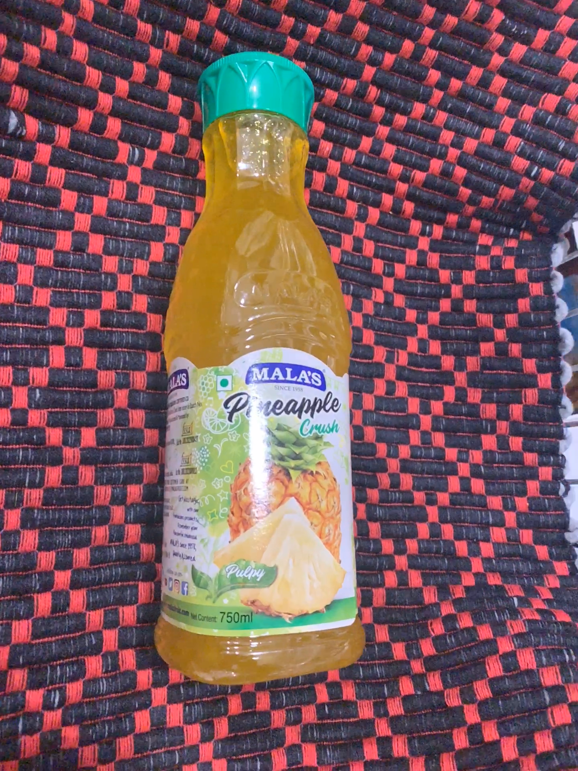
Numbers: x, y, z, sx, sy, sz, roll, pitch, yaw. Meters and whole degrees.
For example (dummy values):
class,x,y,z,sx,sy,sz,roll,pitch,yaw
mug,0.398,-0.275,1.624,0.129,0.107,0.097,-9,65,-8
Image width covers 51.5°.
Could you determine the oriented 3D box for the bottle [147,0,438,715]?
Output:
class,x,y,z,sx,sy,sz,roll,pitch,yaw
bottle,-0.005,-0.015,0.233,0.080,0.070,0.230,4,78,-27
